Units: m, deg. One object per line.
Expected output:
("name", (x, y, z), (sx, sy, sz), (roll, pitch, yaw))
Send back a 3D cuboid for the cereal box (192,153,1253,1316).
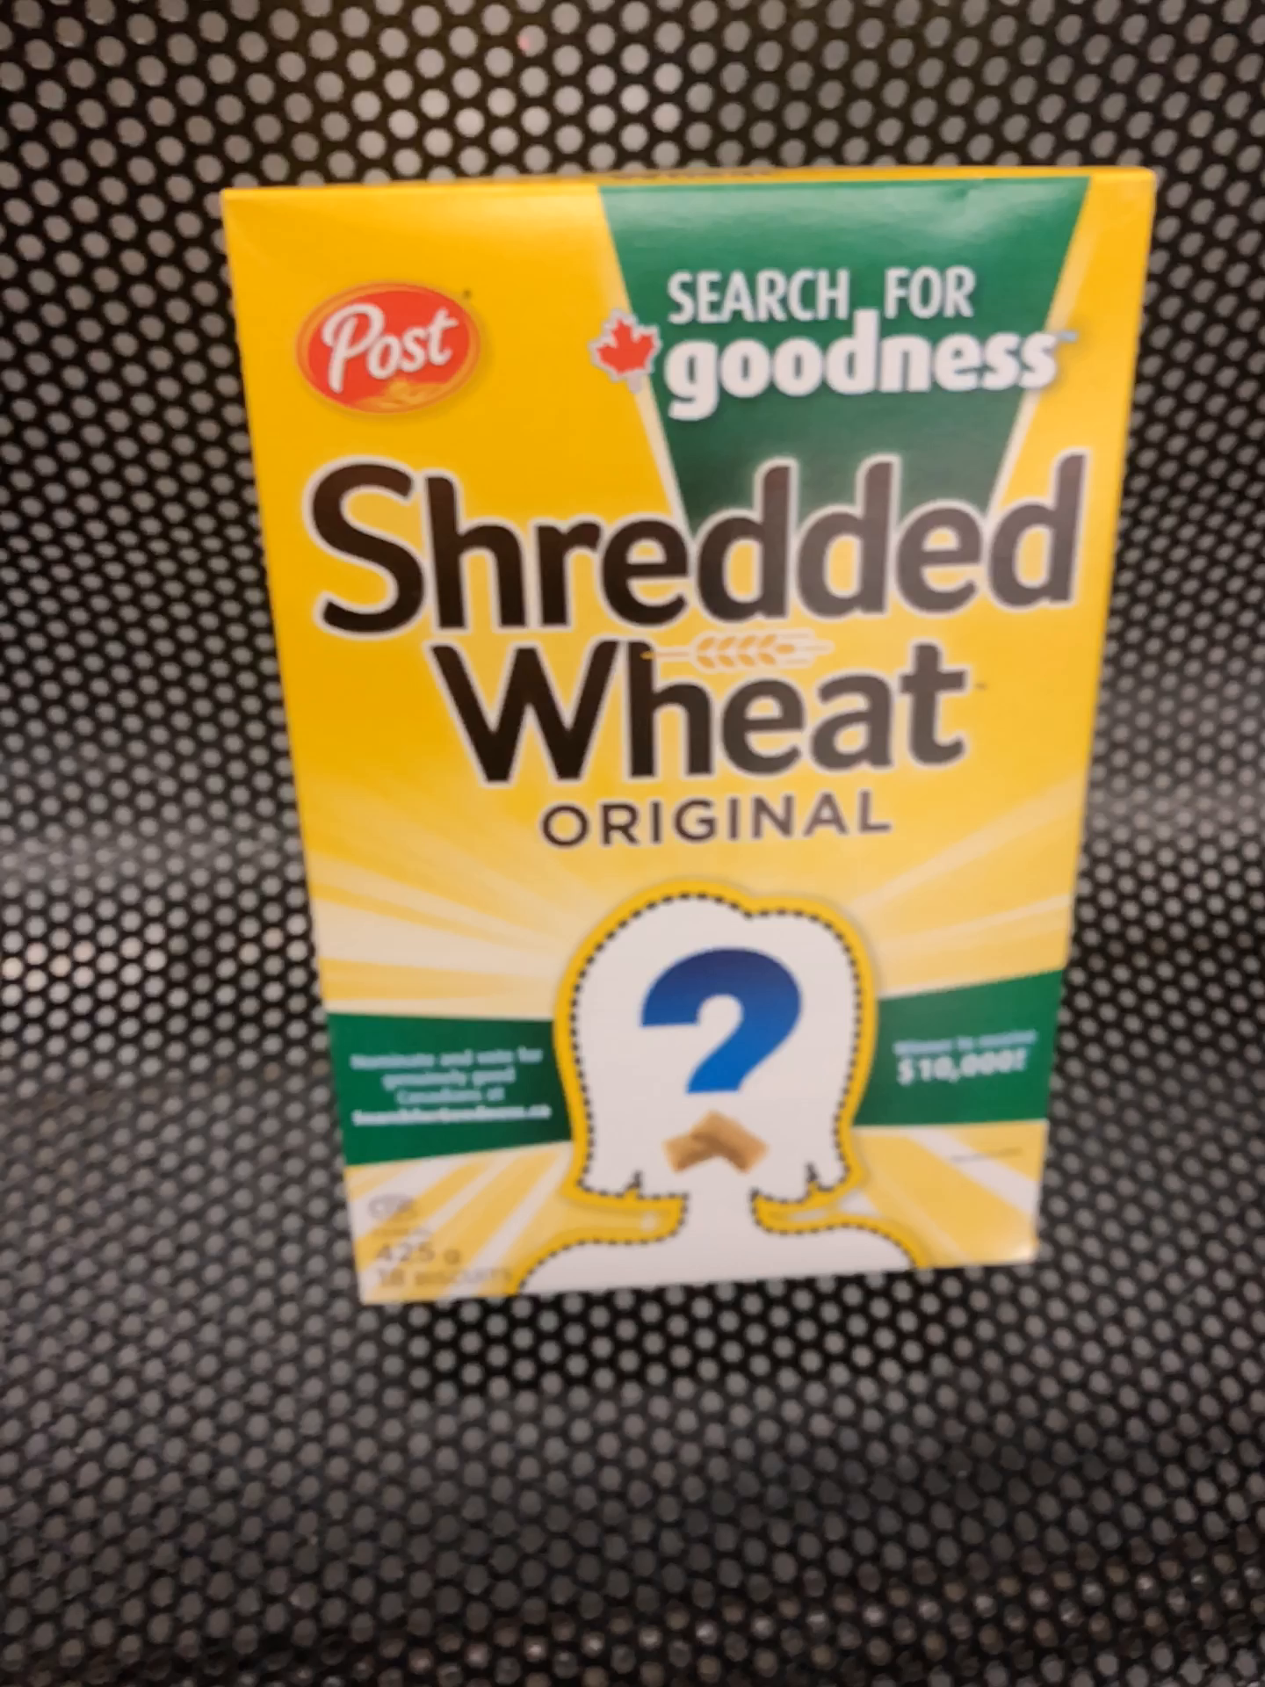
("cereal box", (0.020, -0.024, 0.375), (0.210, 0.279, 0.090), (-3, 24, -4))
